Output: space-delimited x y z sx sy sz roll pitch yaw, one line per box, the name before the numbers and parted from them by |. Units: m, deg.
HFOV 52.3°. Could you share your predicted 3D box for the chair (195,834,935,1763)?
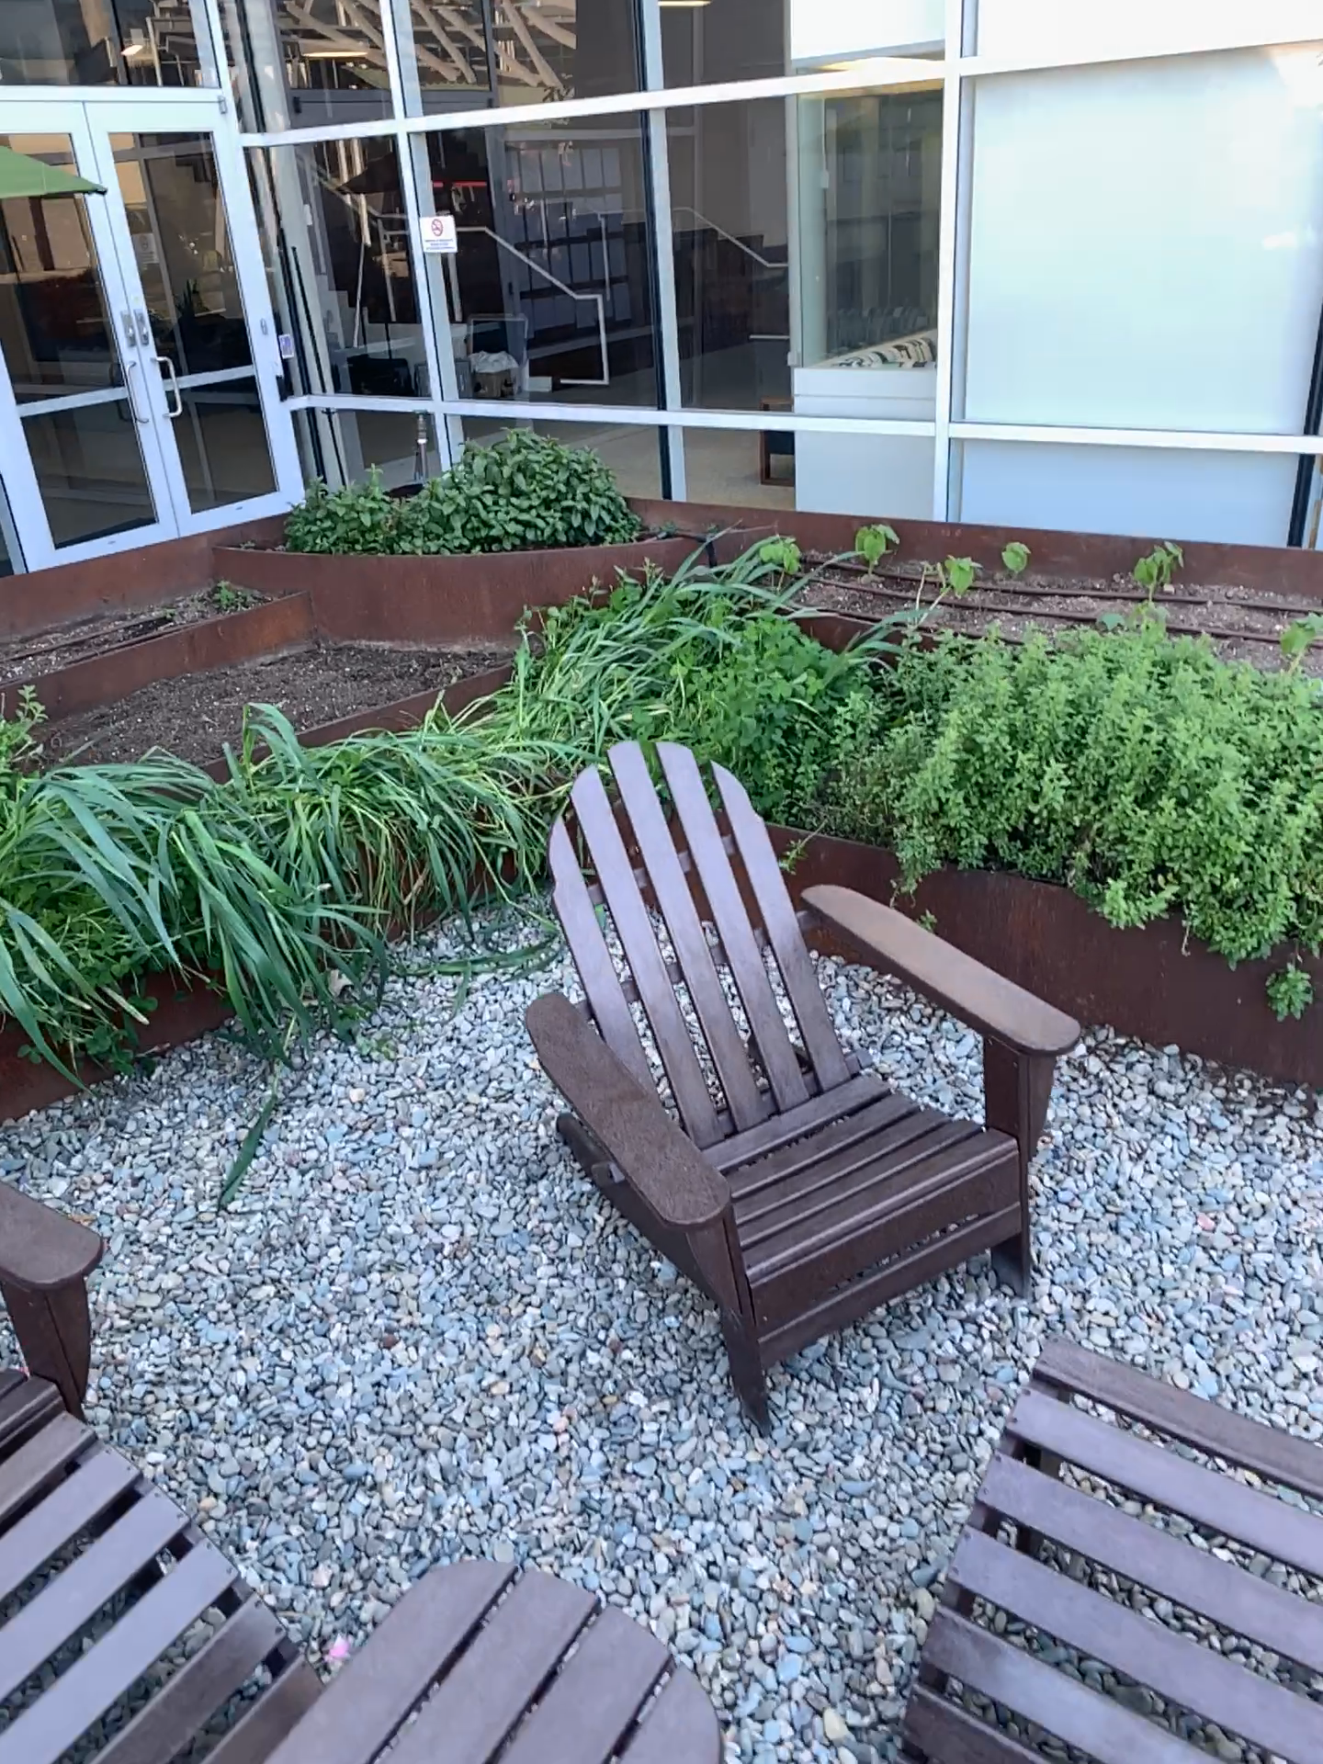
chair | -0.209 0.650 2.424 1.000 0.995 1.005 -11 28 -13
